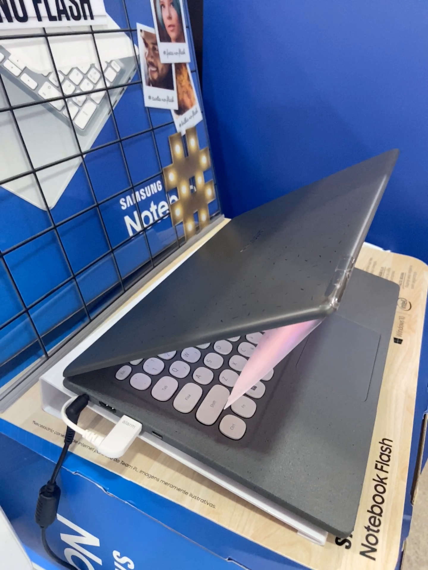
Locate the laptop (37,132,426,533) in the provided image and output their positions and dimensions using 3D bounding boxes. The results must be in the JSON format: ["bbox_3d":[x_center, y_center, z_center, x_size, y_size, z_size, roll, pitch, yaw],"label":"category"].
[{"bbox_3d":[0.057,-0.014,0.391,0.210,0.114,0.325,22,36,16],"label":"laptop"}]
